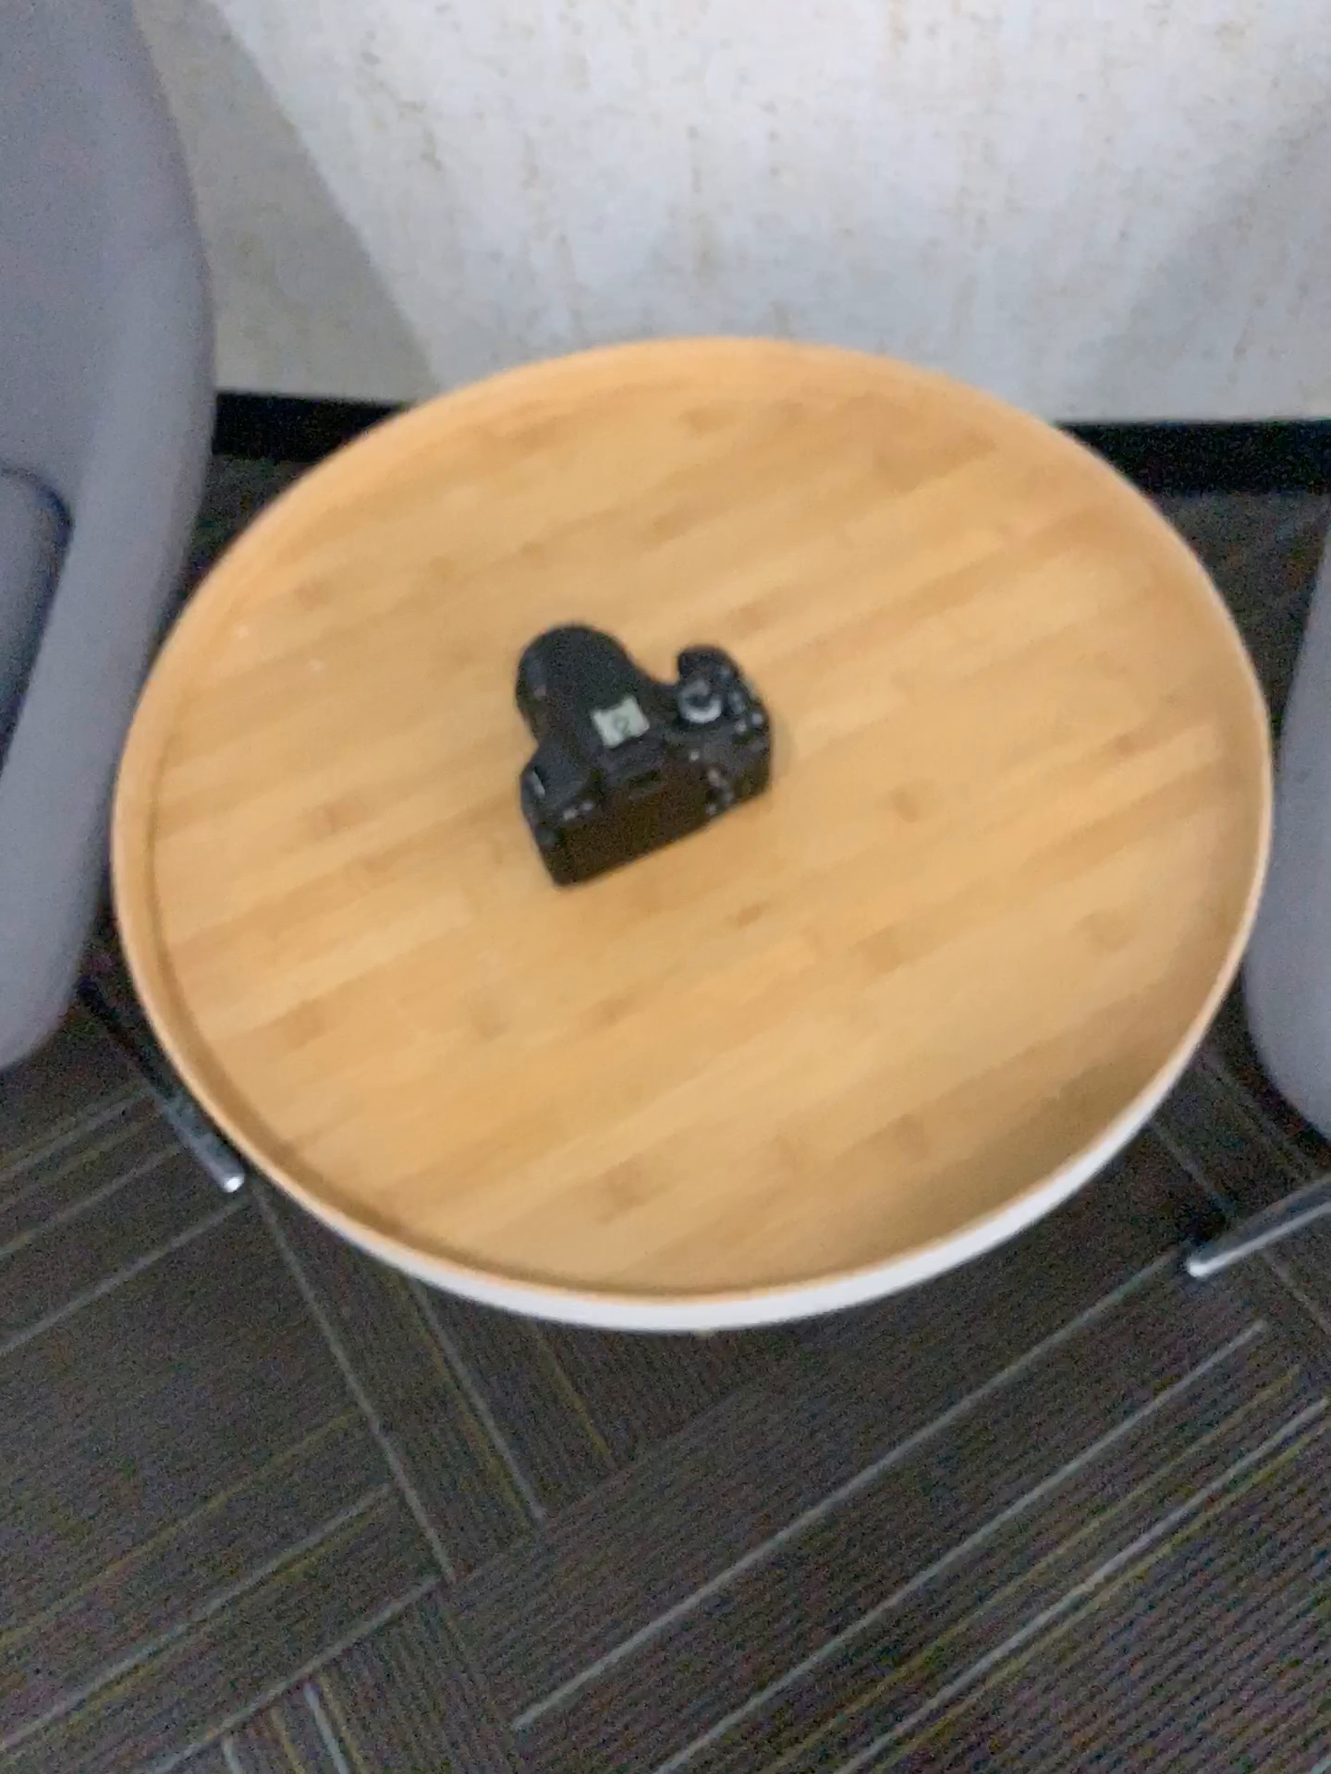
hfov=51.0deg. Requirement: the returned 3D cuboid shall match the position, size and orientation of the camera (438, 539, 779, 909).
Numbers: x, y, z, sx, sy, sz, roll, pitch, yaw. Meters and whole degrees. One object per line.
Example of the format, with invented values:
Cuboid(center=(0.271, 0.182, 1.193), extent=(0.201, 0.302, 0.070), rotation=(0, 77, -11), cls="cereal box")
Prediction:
Cuboid(center=(-0.027, -0.086, 0.746), extent=(0.134, 0.100, 0.120), rotation=(-24, 63, -7), cls="camera")
